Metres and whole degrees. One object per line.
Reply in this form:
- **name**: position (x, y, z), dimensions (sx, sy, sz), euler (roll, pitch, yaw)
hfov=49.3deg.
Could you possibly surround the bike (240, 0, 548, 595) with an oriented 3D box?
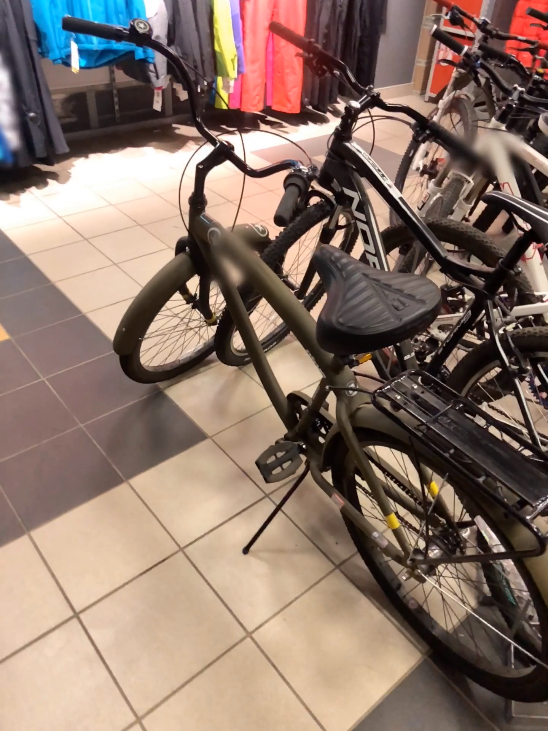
- **bike**: position (0.374, -0.359, 1.673), dimensions (0.664, 1.228, 0.977), euler (-15, 49, -24)

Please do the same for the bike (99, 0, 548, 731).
- **bike**: position (0.194, -0.115, 1.354), dimensions (0.832, 1.130, 1.503), euler (-12, 44, -20)
